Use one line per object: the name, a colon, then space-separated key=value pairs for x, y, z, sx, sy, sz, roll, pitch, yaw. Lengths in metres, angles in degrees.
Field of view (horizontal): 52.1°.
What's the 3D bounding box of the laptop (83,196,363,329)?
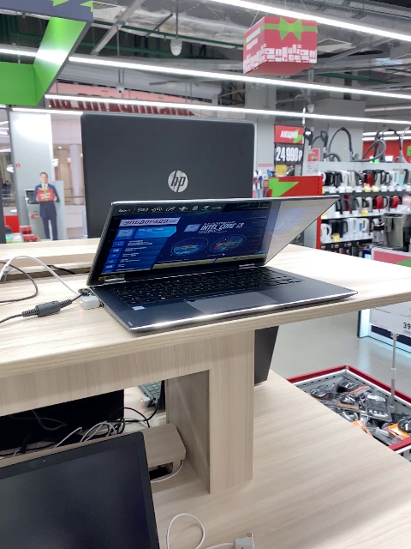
laptop: x=0.016 y=-0.041 z=0.594 sx=0.320 sy=0.128 sz=0.217 roll=-6 pitch=13 yaw=-26
